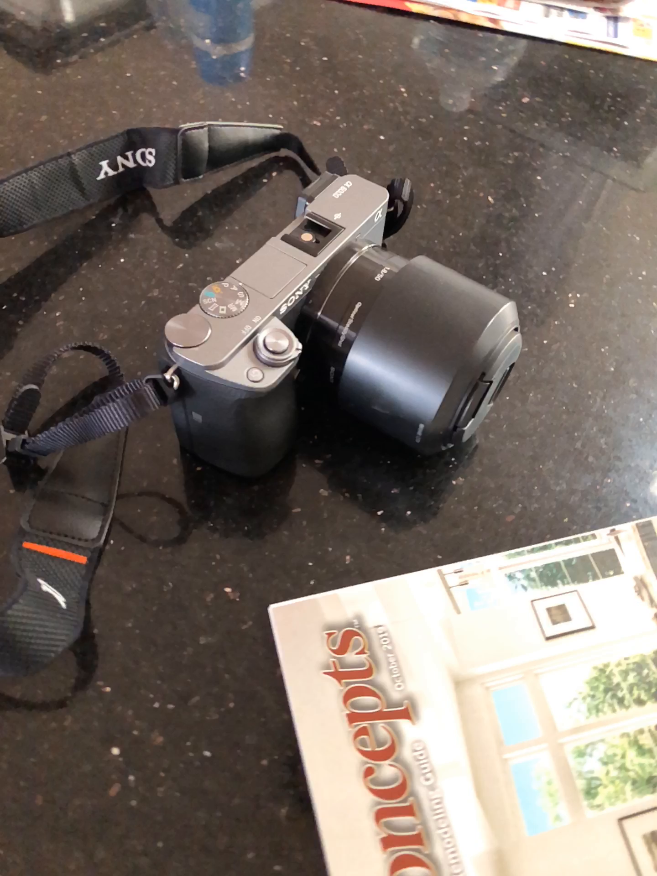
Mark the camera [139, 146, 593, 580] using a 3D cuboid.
[{"bbox_3d":[0.016,-0.034,0.275,0.110,0.060,0.120,30,59,15],"label":"camera"}]
